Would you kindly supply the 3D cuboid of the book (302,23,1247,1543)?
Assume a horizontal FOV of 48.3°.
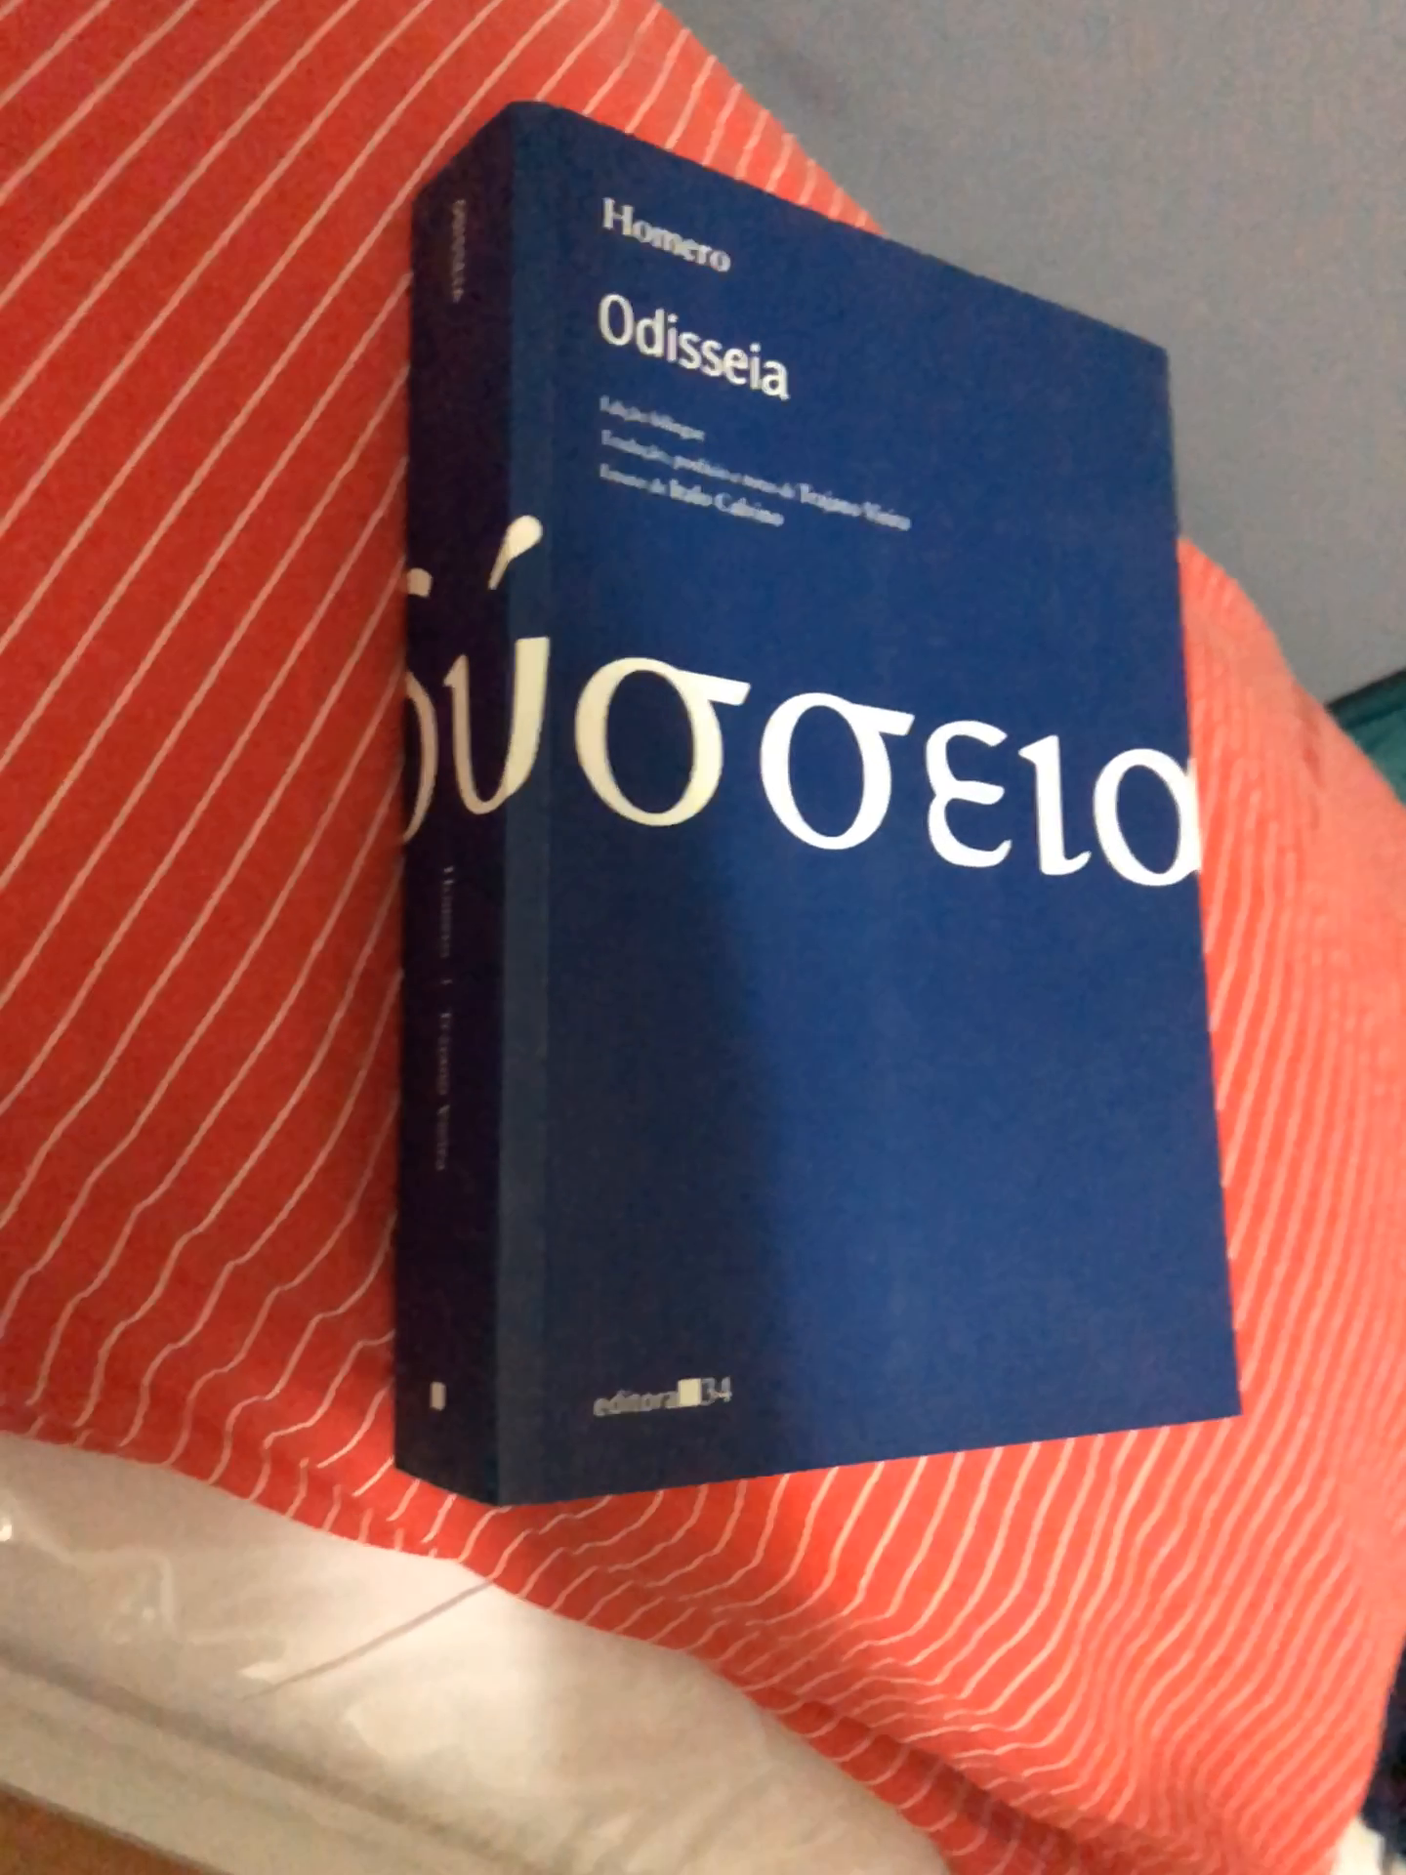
[{"bbox_3d":[0.018,-0.023,0.291,0.171,0.040,0.230,4,79,-31],"label":"book"}]
